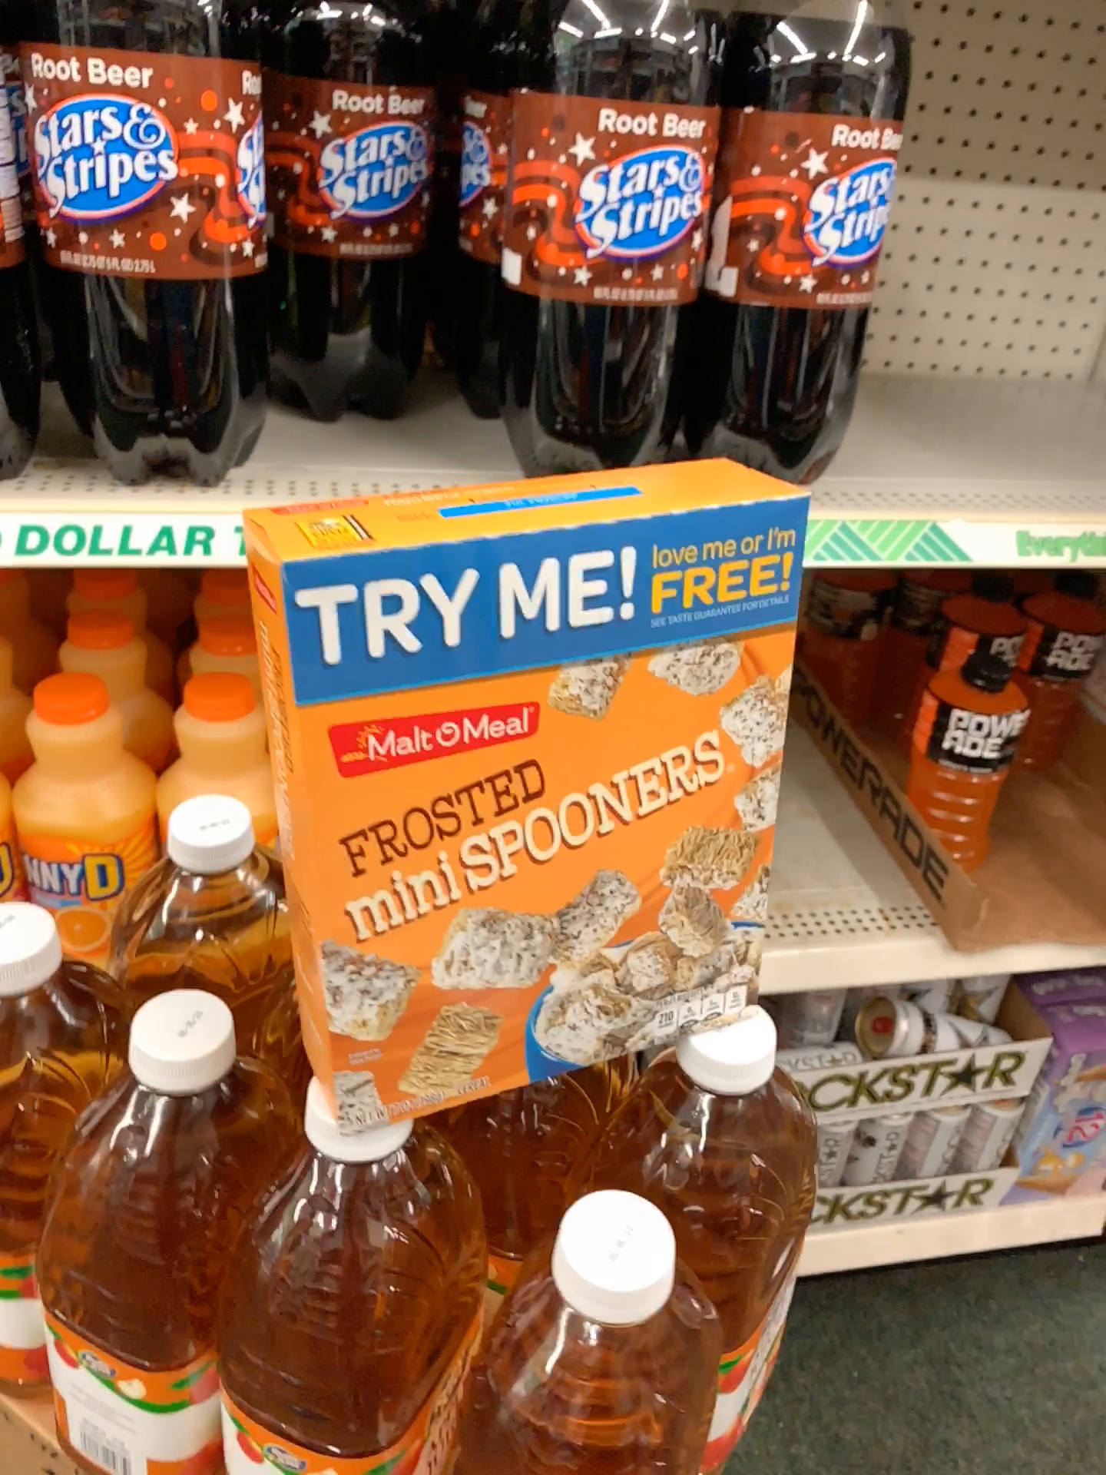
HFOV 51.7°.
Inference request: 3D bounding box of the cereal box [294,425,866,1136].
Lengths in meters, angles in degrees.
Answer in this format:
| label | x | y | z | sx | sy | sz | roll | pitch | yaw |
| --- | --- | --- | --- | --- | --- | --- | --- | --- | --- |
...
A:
| label | x | y | z | sx | sy | sz | roll | pitch | yaw |
| --- | --- | --- | --- | --- | --- | --- | --- | --- | --- |
| cereal box | 0.007 | 0.011 | 0.403 | 0.170 | 0.219 | 0.060 | -10 | 28 | -24 |
